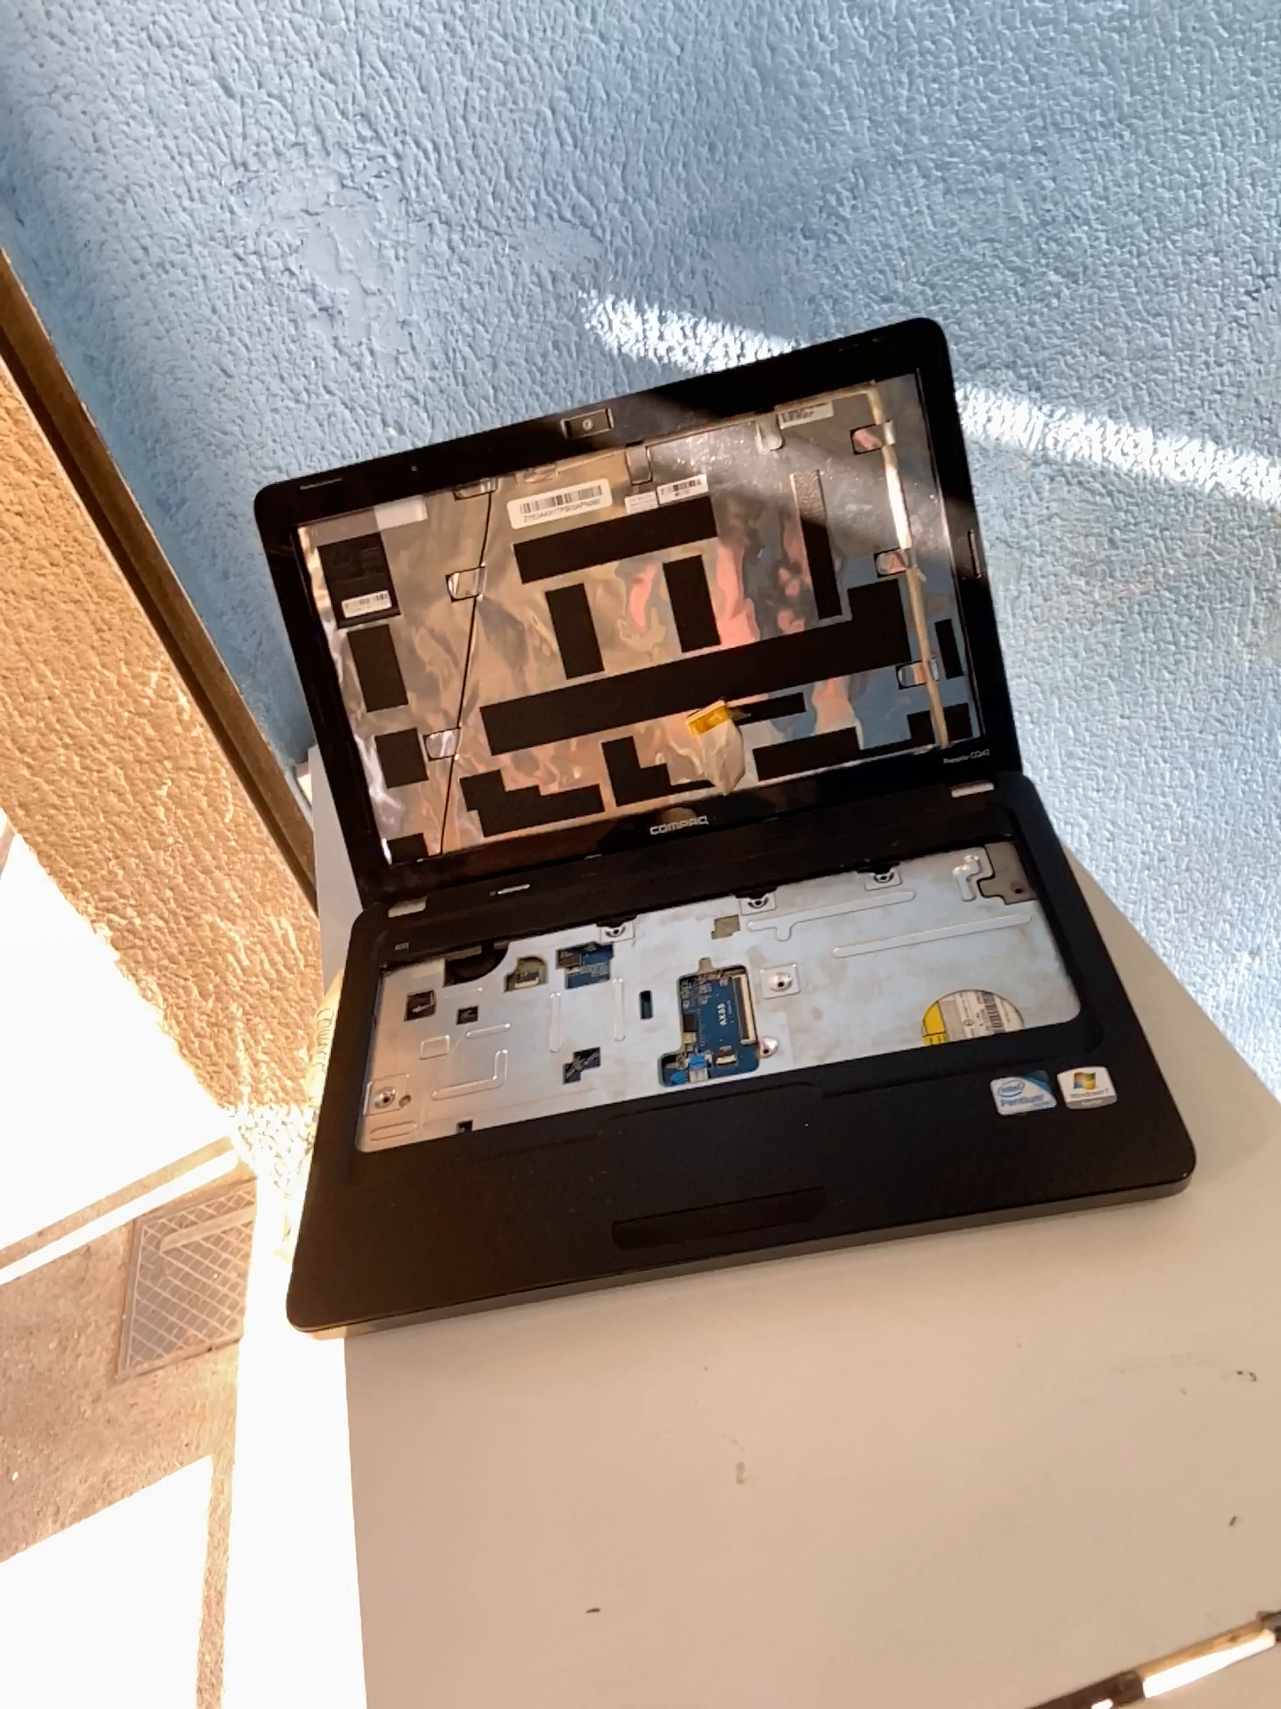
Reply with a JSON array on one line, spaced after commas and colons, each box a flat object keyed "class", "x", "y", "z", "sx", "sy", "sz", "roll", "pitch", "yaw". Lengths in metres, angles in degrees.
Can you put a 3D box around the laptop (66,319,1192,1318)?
[{"class": "laptop", "x": 0.004, "y": -0.034, "z": 0.558, "sx": 0.331, "sy": 0.182, "sz": 0.337, "roll": -12, "pitch": 40, "yaw": 8}]
